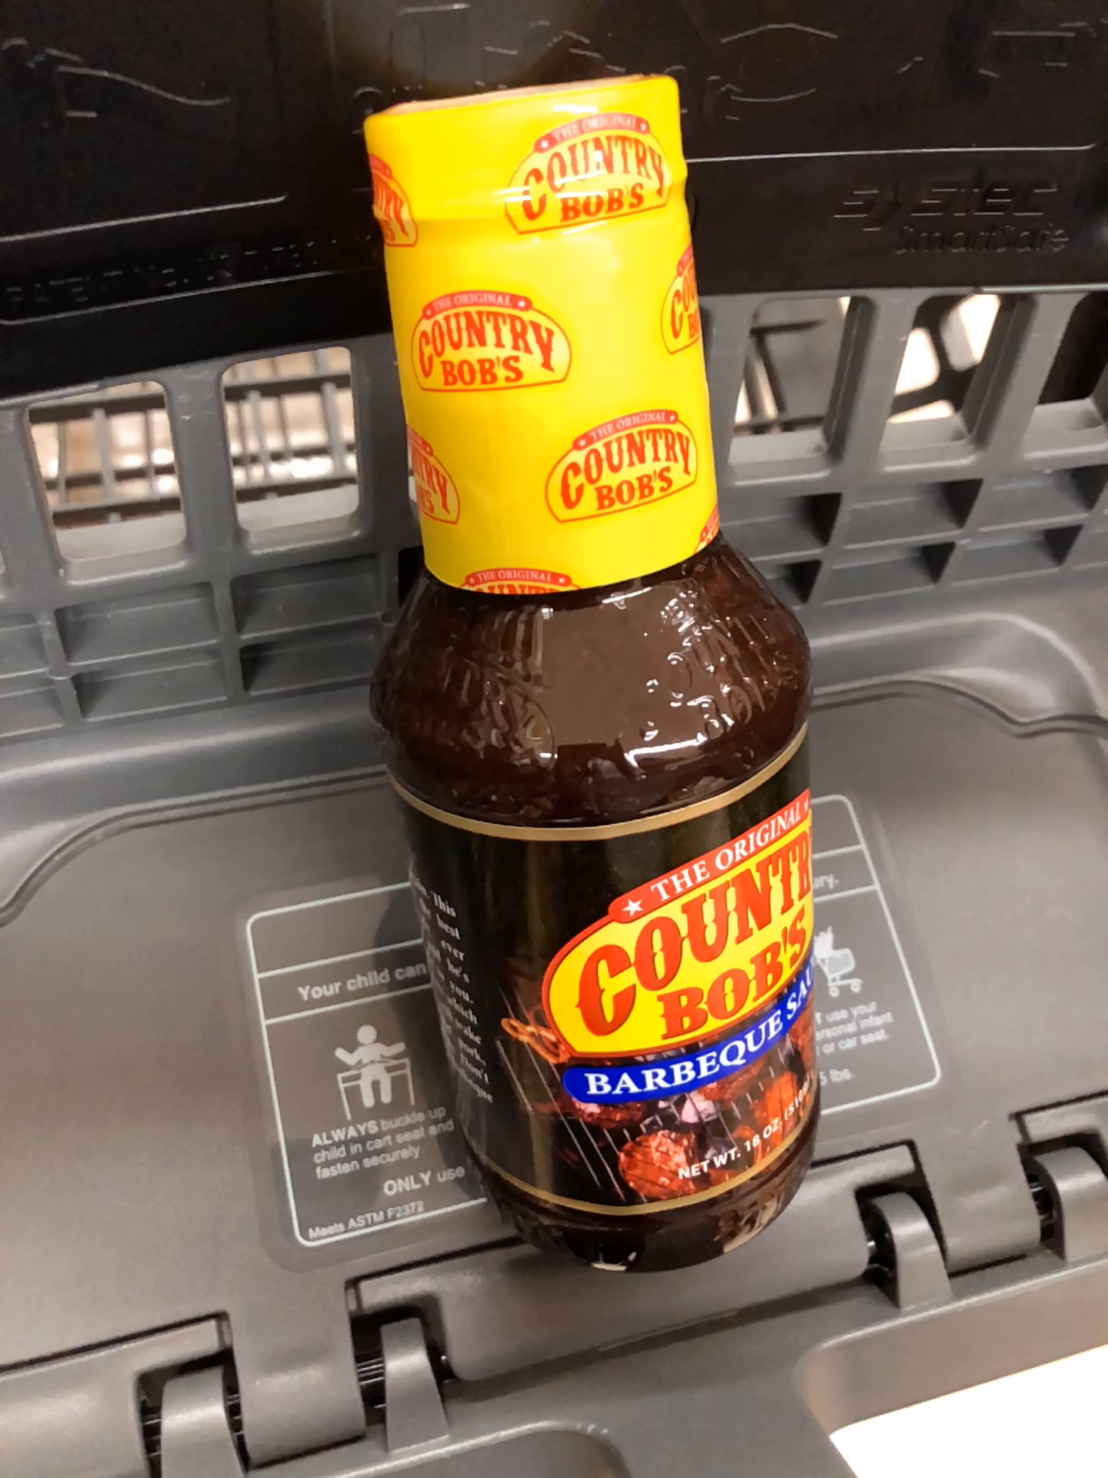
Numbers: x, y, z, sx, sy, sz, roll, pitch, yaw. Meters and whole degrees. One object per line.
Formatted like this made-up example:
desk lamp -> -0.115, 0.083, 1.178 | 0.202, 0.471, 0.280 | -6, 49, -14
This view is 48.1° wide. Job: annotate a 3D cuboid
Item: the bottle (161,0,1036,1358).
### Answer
bottle -> 0.005, -0.012, 0.191 | 0.080, 0.080, 0.170 | -16, 118, -24
